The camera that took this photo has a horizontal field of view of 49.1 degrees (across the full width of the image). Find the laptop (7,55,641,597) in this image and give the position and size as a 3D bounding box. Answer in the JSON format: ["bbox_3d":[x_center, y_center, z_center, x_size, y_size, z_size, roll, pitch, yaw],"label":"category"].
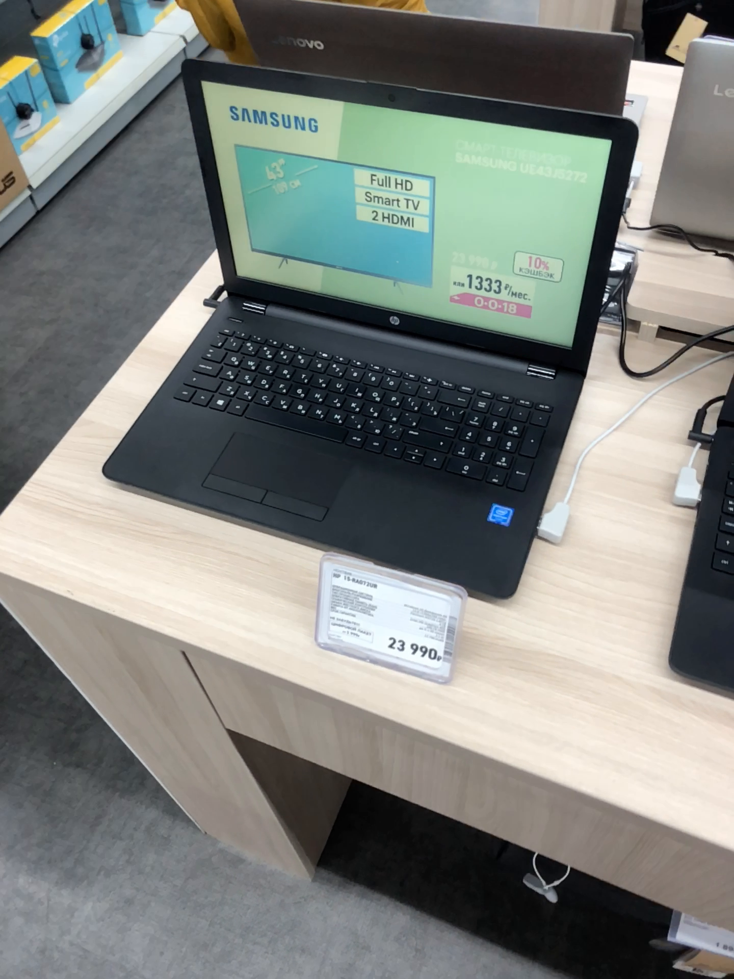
[{"bbox_3d":[-0.017,-0.142,0.640,0.362,0.222,0.274,16,56,16],"label":"laptop"}]
